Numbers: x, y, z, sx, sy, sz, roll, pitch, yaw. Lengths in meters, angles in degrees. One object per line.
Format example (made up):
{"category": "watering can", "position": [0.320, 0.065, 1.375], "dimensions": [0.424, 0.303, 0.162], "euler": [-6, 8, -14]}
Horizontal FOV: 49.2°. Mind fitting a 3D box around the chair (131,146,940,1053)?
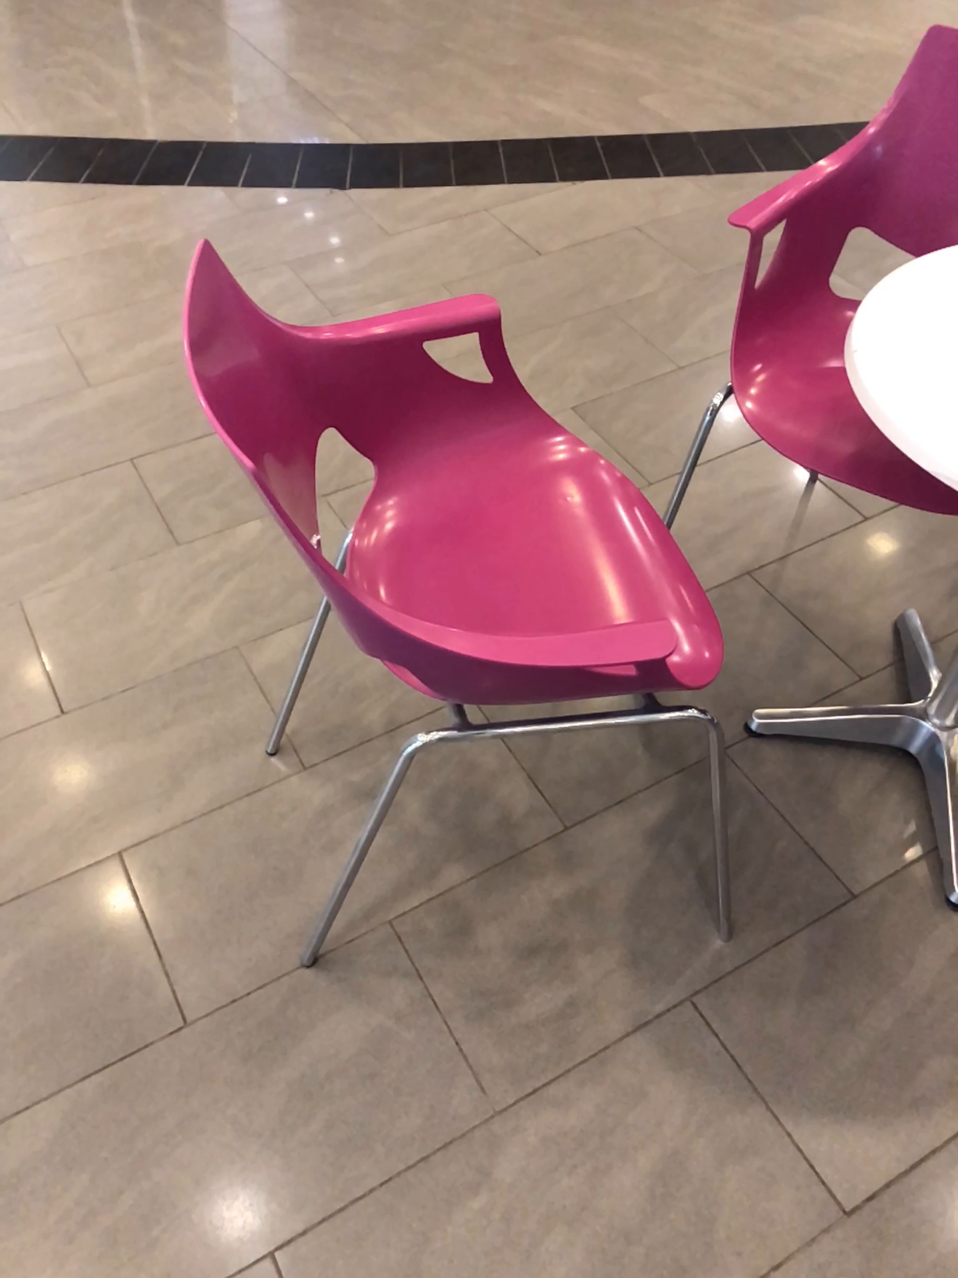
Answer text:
{"category": "chair", "position": [-0.011, -0.034, 1.231], "dimensions": [0.590, 0.757, 0.632], "euler": [-10, 48, -9]}
